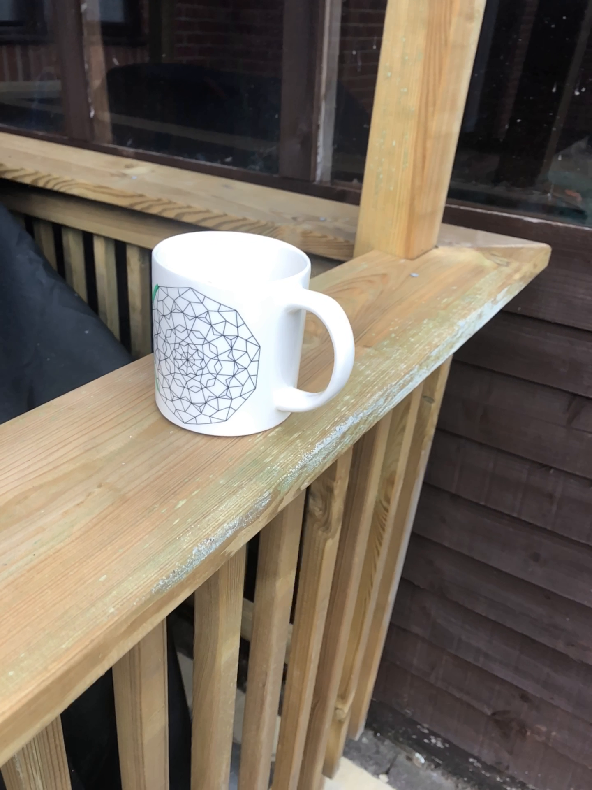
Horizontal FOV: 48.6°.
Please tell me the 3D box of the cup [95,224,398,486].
[{"bbox_3d":[-0.026,-0.030,0.364,0.130,0.089,0.091,18,32,25],"label":"cup"}]
